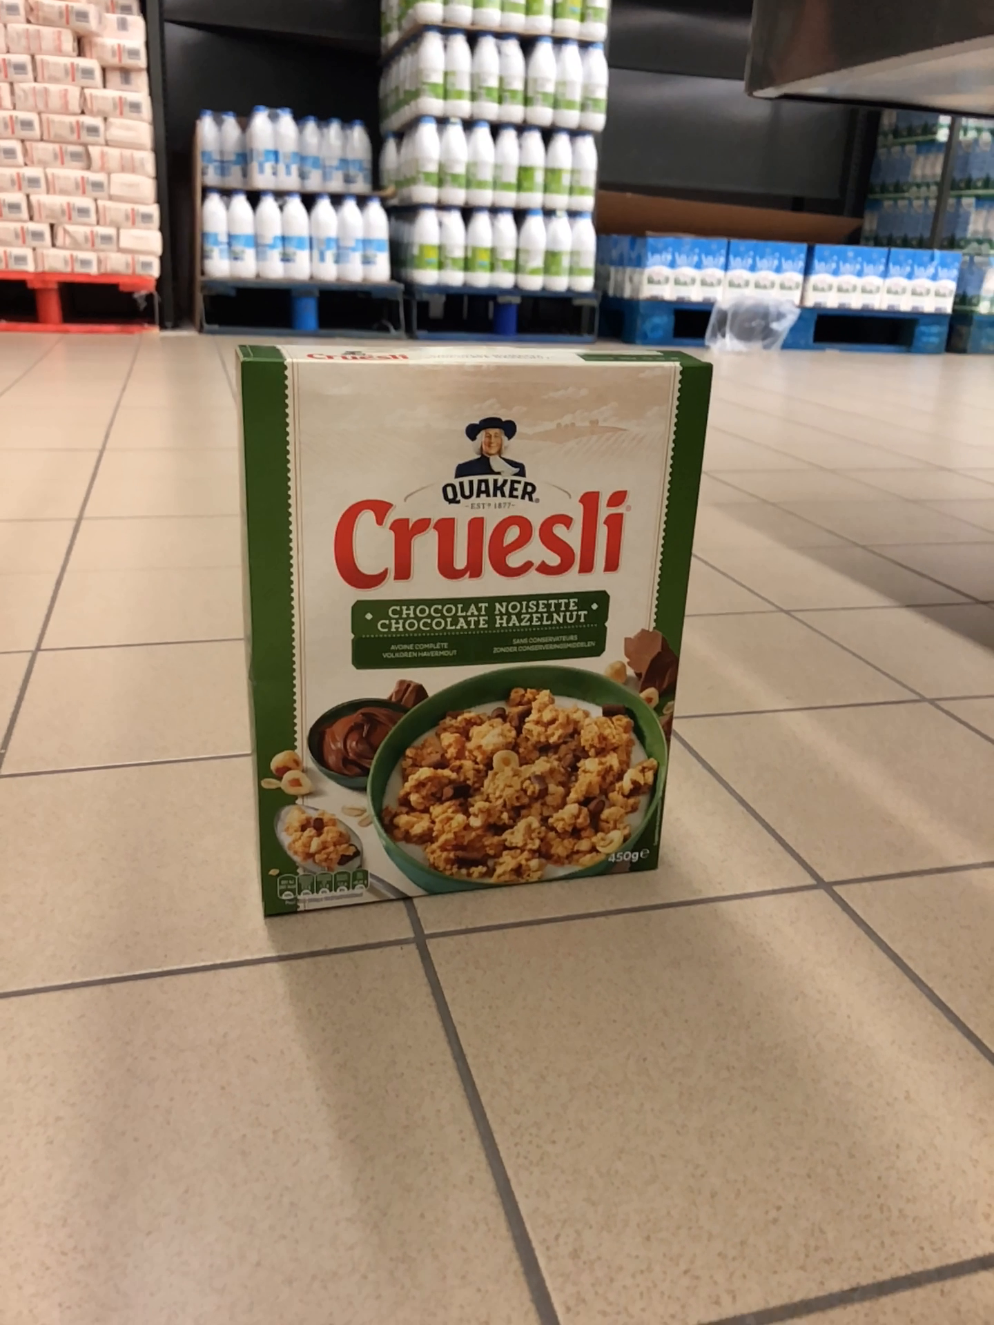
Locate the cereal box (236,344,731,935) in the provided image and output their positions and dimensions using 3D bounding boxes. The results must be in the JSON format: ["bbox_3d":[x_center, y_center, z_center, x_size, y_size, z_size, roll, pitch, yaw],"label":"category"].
[{"bbox_3d":[-0.010,-0.011,0.478,0.190,0.239,0.060,-3,20,-14],"label":"cereal box"}]
